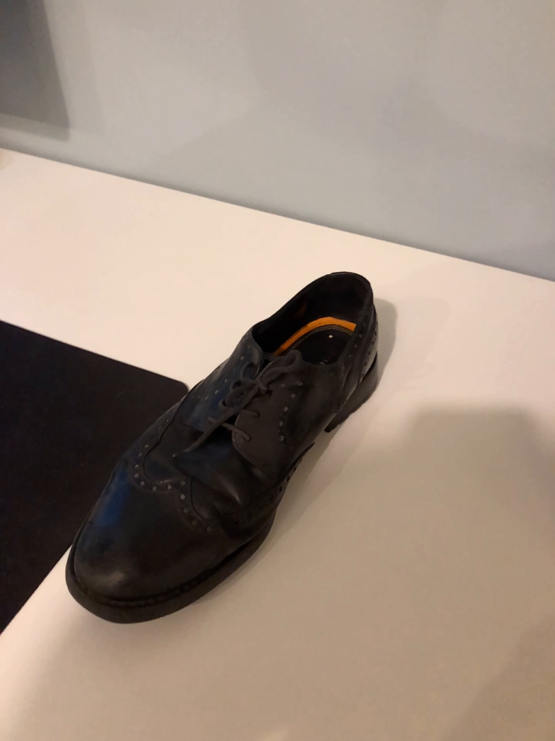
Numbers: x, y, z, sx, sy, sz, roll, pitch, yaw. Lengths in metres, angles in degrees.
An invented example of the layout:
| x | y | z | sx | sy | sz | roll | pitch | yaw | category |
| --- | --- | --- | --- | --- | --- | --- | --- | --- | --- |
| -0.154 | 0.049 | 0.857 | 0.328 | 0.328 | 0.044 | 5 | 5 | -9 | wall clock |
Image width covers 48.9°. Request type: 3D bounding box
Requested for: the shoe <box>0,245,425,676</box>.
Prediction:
| x | y | z | sx | sy | sz | roll | pitch | yaw | category |
| --- | --- | --- | --- | --- | --- | --- | --- | --- | --- |
| -0.022 | 0.032 | 0.437 | 0.119 | 0.079 | 0.314 | 25 | 48 | 24 | shoe |
